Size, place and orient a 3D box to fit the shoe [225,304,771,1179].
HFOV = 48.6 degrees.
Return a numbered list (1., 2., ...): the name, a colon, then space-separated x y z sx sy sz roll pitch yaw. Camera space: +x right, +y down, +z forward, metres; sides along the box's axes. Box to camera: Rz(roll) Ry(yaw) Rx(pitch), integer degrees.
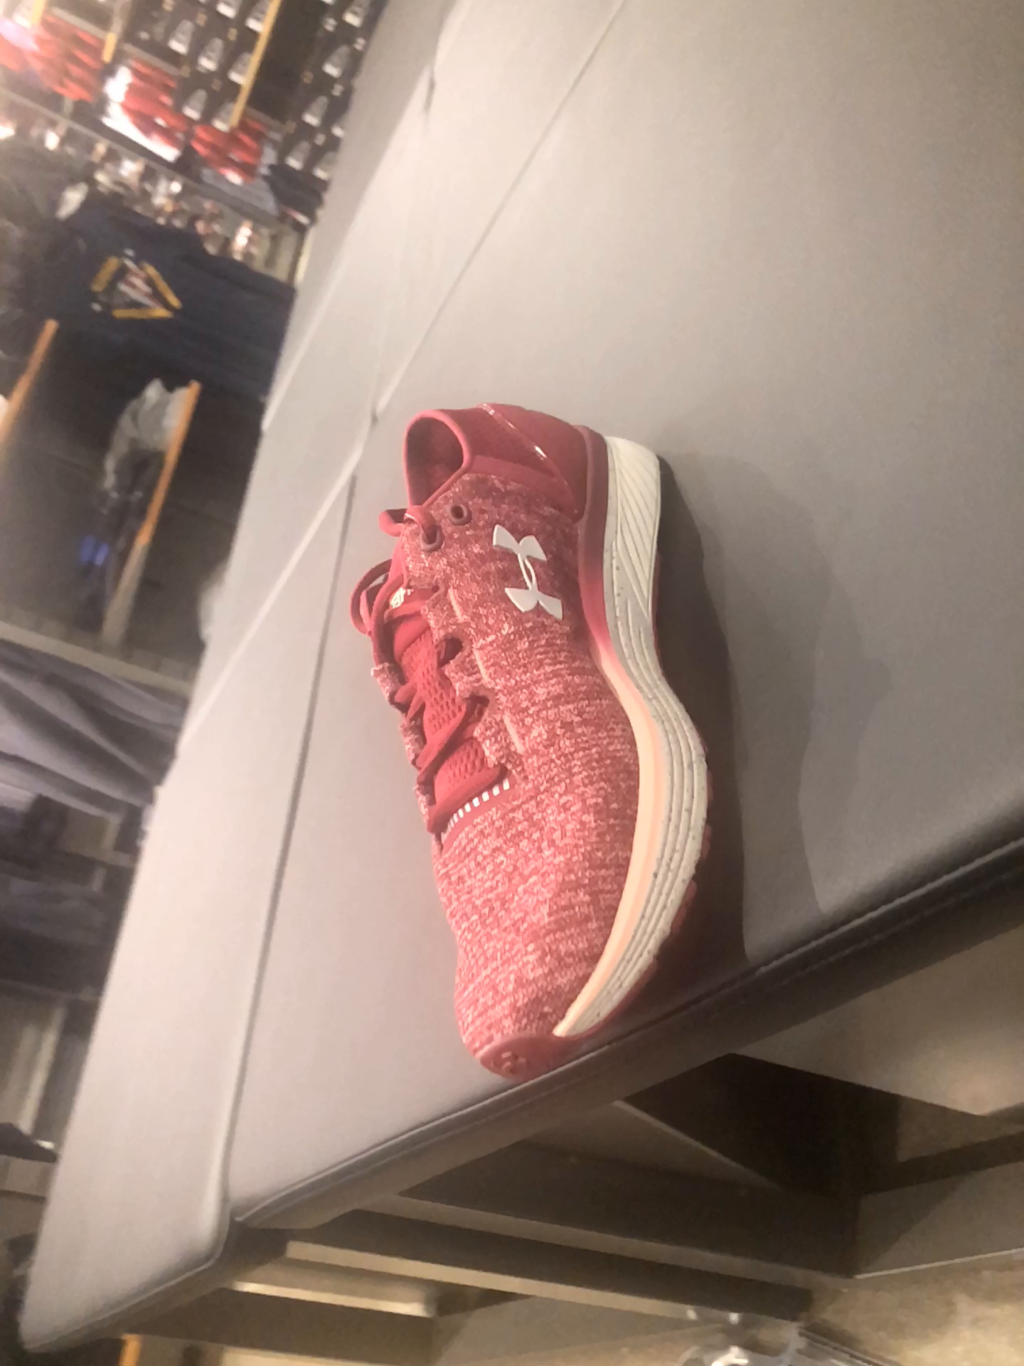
1. shoe: -0.008 0.009 0.381 0.122 0.097 0.254 -51 28 41
